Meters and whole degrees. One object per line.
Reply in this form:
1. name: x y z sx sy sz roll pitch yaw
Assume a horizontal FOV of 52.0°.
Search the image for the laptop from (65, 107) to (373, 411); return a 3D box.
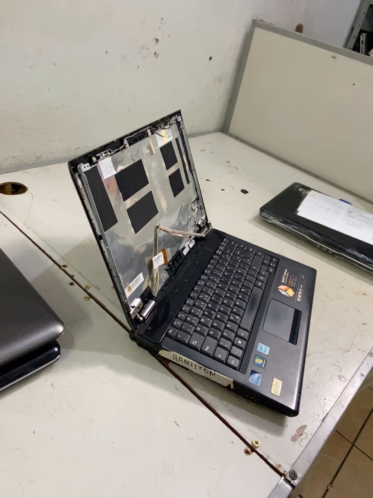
1. laptop: 0.062 -0.028 0.578 0.335 0.205 0.335 22 35 11
